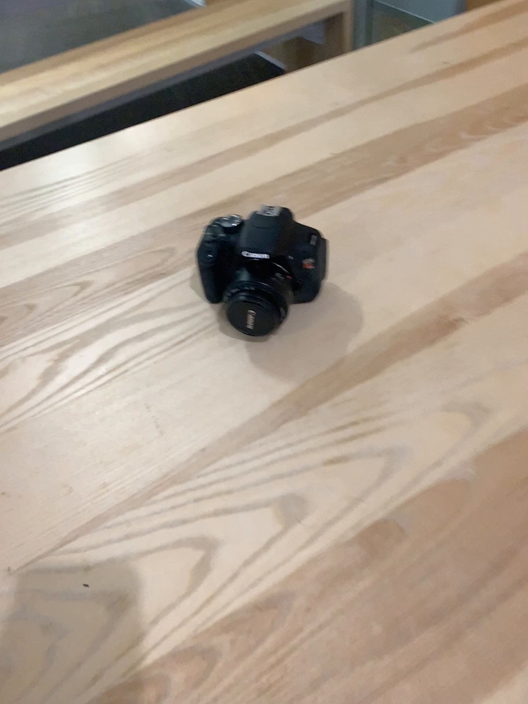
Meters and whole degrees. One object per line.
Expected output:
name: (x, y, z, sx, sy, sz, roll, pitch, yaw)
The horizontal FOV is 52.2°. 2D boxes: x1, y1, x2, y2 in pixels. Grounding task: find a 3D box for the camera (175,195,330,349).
camera: (-0.004, -0.087, 0.570, 0.127, 0.089, 0.127, 7, 50, 13)
